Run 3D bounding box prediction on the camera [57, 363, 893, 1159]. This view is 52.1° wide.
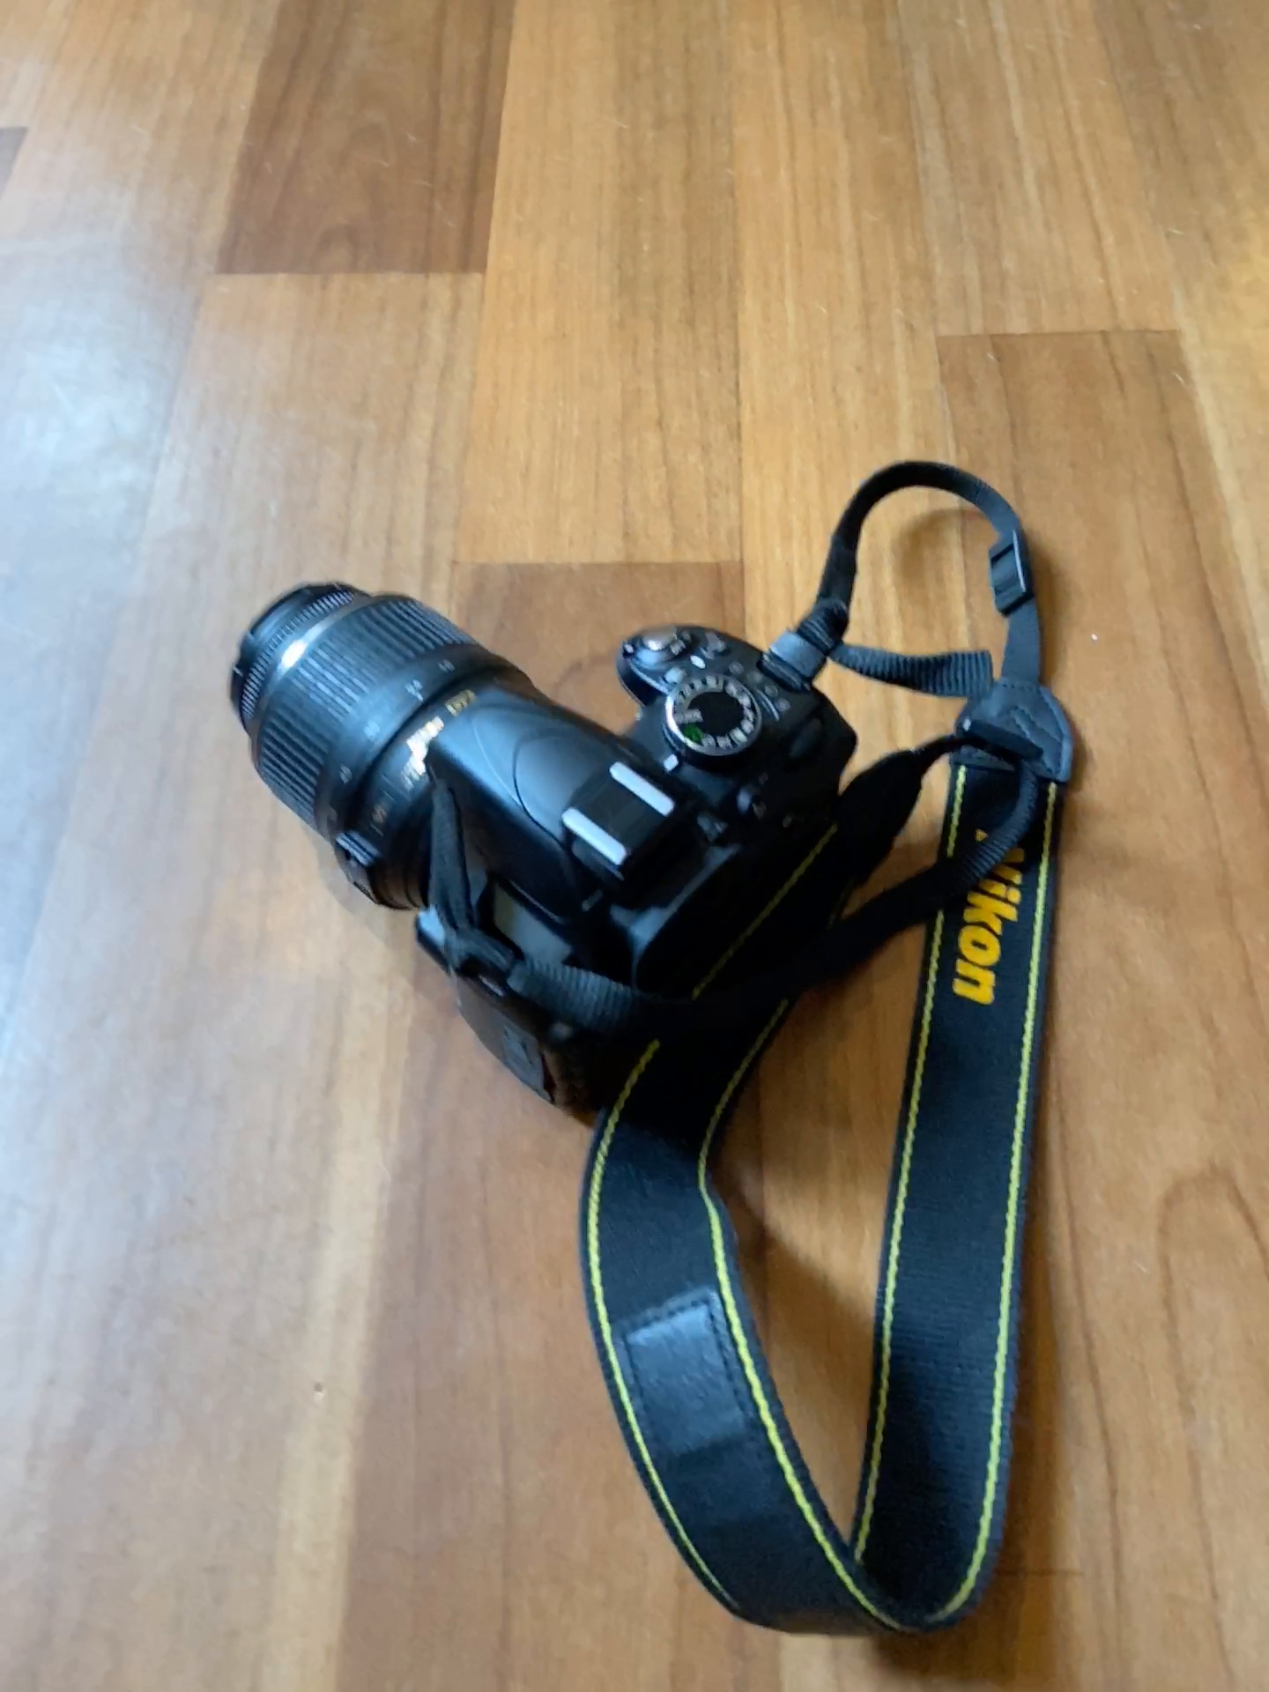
[{"bbox_3d":[-0.039,-0.026,0.349,0.162,0.090,0.121,37,68,20],"label":"camera"}]
